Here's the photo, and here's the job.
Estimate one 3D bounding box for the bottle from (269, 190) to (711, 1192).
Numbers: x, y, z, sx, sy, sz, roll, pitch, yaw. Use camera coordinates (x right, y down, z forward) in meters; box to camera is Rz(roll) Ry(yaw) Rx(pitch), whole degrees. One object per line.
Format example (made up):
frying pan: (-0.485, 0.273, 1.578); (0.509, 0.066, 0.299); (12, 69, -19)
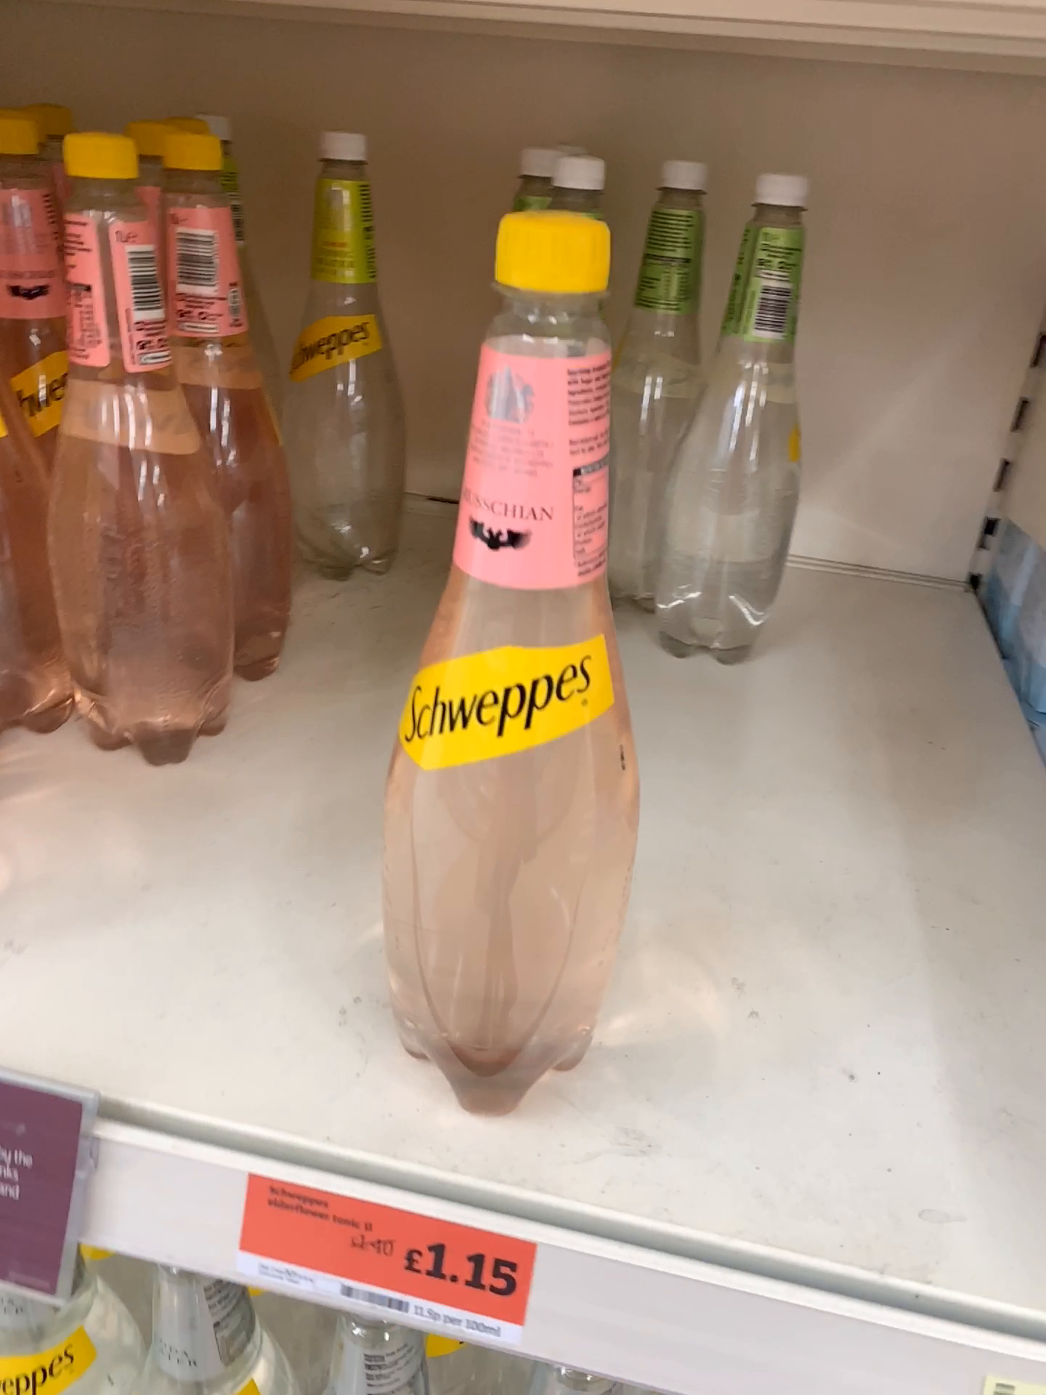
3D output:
bottle: (-0.014, 0.009, 0.342); (0.085, 0.299, 0.090); (4, 29, -2)
